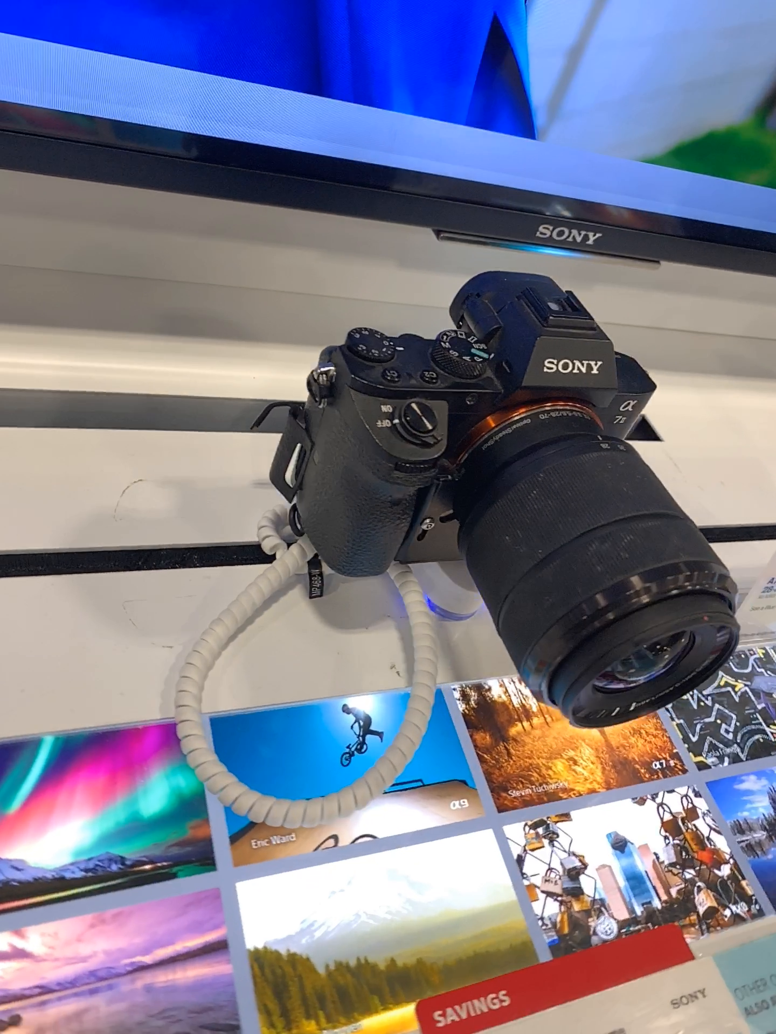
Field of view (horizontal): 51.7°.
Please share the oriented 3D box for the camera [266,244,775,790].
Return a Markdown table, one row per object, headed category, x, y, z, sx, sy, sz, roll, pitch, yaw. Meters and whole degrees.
| category | x | y | z | sx | sy | sz | roll | pitch | yaw |
| --- | --- | --- | --- | --- | --- | --- | --- | --- | --- |
| camera | 0.044 | -0.008 | 0.273 | 0.128 | 0.084 | 0.151 | -3 | 50 | -24 |
